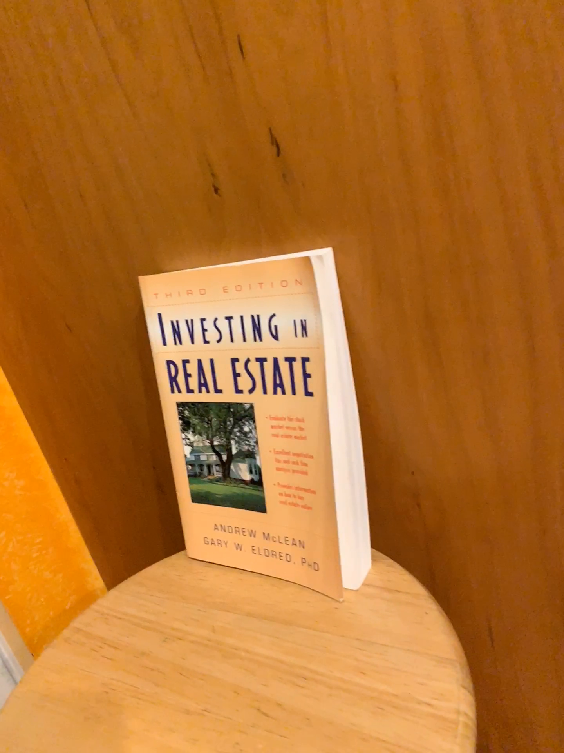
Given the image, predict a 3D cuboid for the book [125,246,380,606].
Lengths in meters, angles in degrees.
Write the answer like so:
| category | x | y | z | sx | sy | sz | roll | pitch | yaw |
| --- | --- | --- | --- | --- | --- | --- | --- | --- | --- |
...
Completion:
| category | x | y | z | sx | sy | sz | roll | pitch | yaw |
| --- | --- | --- | --- | --- | --- | --- | --- | --- | --- |
| book | -0.023 | 0.032 | 0.424 | 0.160 | 0.230 | 0.050 | -1 | 11 | 33 |
